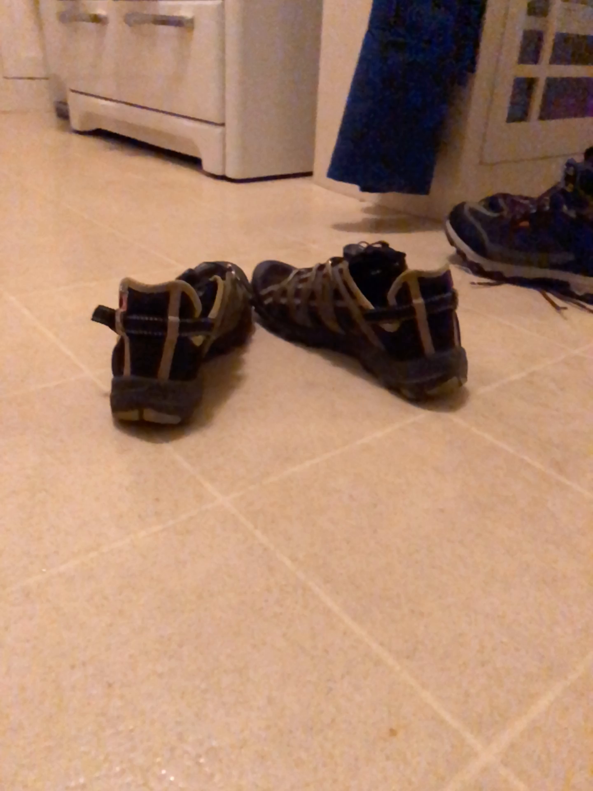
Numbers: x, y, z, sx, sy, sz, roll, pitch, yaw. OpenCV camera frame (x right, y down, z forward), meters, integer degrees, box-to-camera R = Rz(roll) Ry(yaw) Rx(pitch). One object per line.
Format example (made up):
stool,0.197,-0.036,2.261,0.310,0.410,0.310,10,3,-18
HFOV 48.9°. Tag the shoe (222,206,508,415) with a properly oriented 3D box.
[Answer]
shoe,0.051,-0.104,0.671,0.109,0.111,0.287,-20,36,-37

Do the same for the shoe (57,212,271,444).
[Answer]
shoe,-0.103,-0.081,0.611,0.100,0.109,0.281,7,29,7
